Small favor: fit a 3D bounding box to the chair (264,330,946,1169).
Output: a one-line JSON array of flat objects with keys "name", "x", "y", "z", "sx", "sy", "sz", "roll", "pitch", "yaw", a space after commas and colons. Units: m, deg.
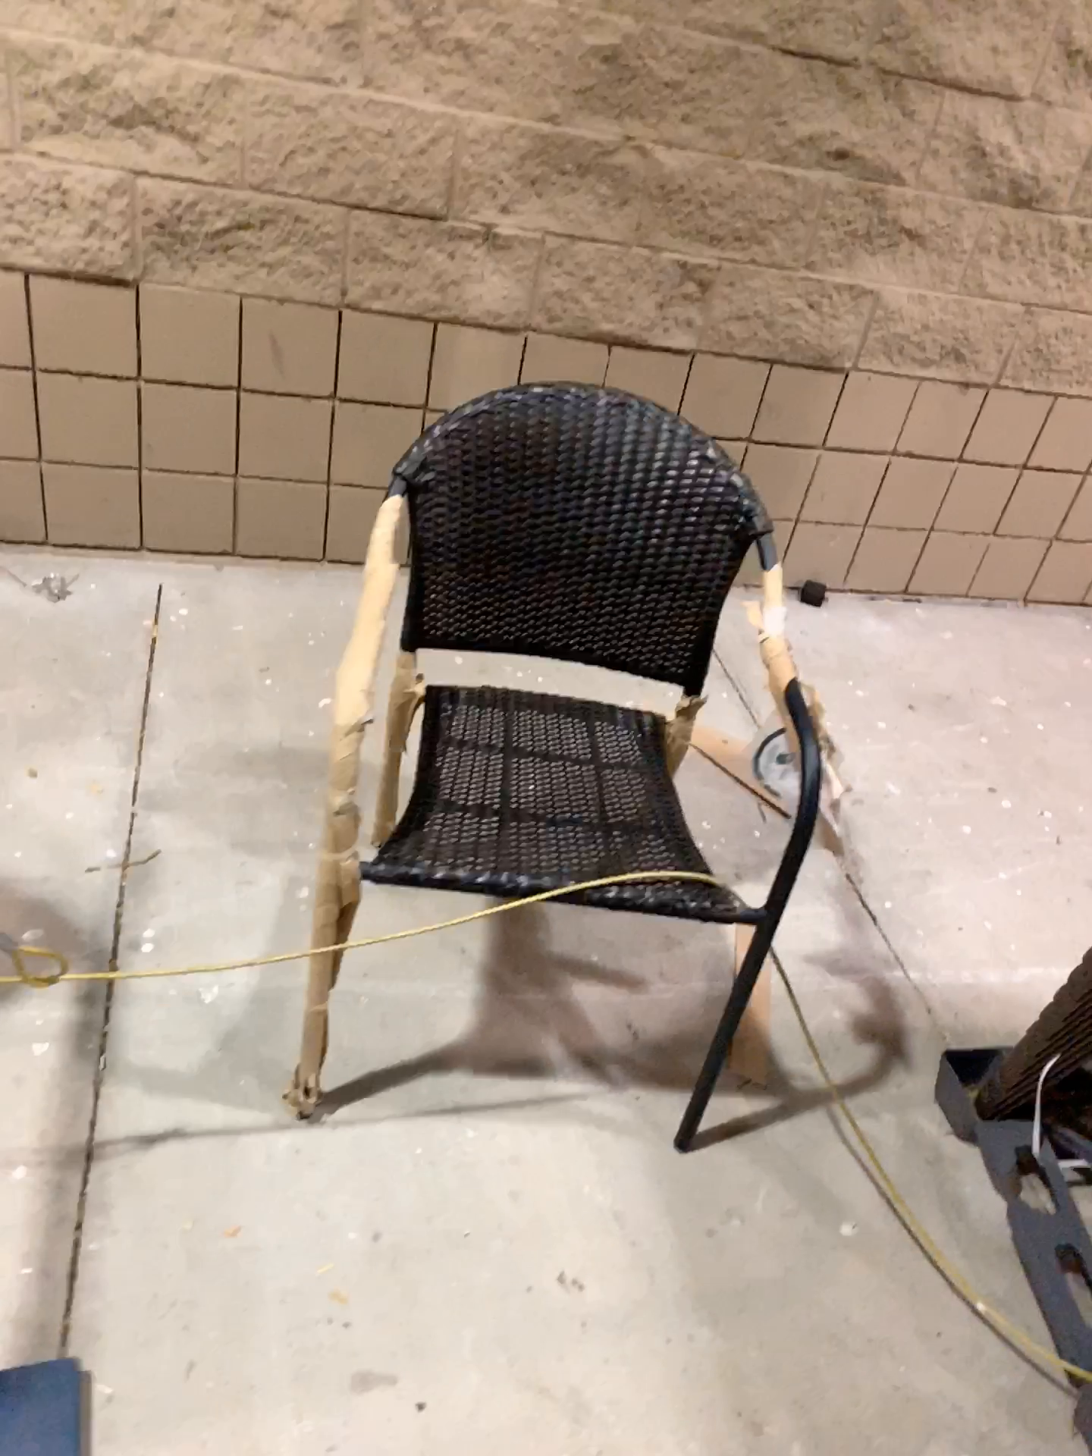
[{"name": "chair", "x": -0.010, "y": 0.041, "z": 1.443, "sx": 0.575, "sy": 0.839, "sz": 0.600, "roll": 7, "pitch": 35, "yaw": -8}]
